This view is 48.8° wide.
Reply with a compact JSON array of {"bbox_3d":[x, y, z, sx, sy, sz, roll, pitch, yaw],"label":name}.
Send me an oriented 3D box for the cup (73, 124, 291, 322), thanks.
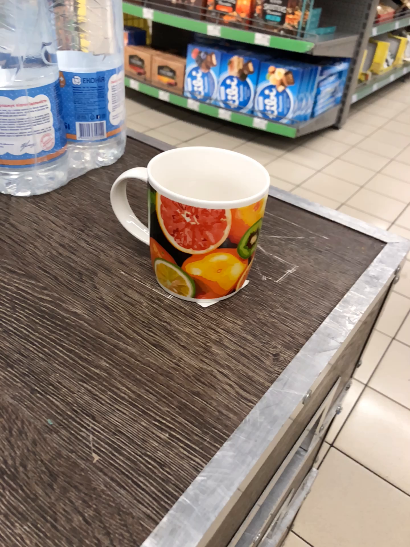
[{"bbox_3d":[-0.016,-0.044,0.344,0.126,0.085,0.092,20,40,17],"label":"cup"}]
